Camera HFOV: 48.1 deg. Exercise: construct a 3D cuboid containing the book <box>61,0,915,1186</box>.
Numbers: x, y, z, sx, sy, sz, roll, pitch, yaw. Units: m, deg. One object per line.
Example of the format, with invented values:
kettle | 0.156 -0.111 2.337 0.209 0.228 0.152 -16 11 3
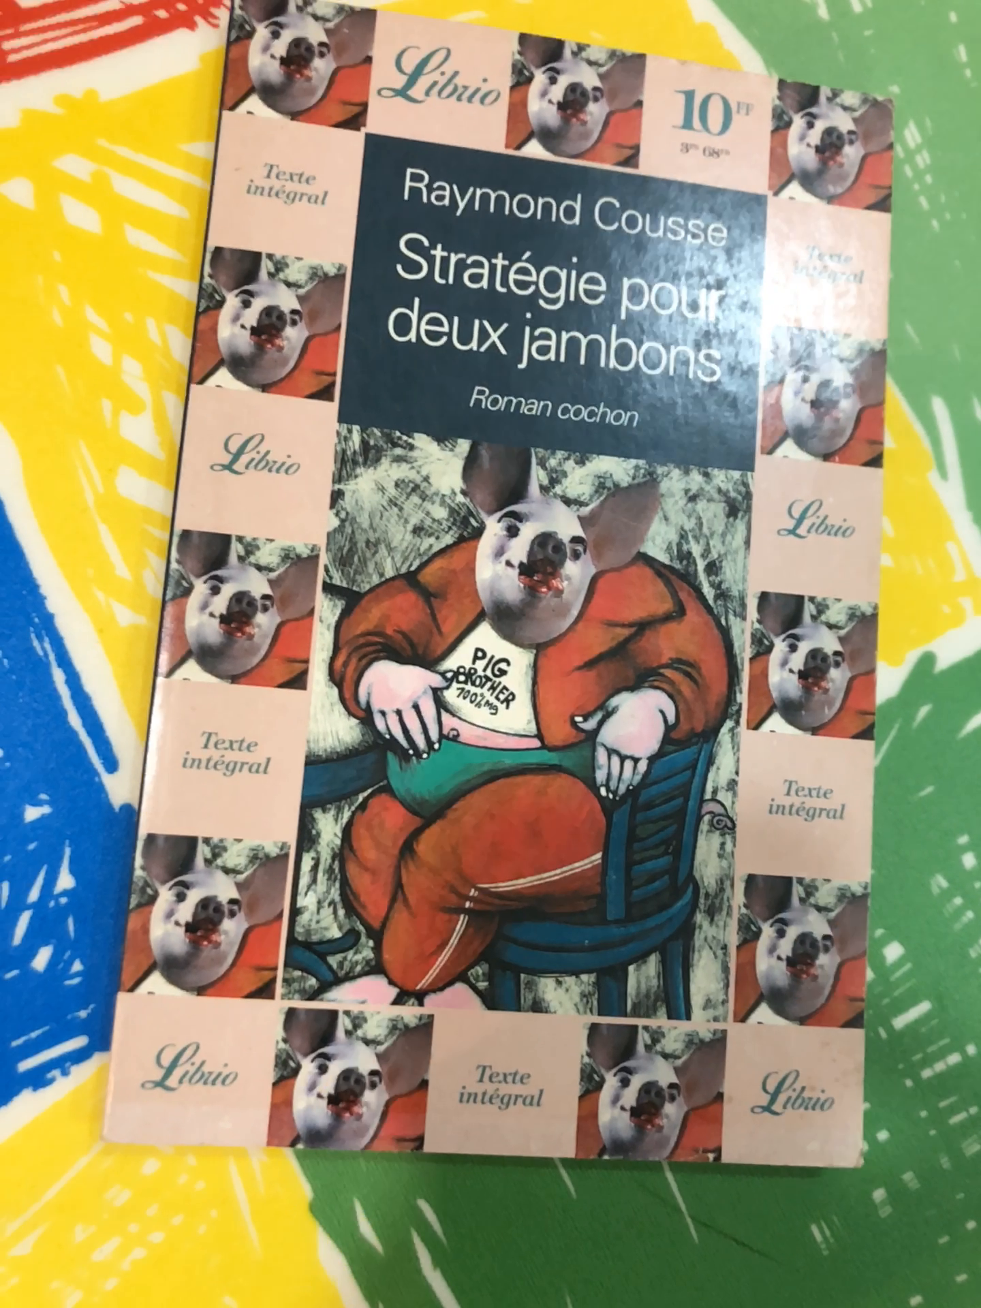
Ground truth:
book | 0.007 -0.015 0.191 0.130 0.014 0.197 5 83 -7
